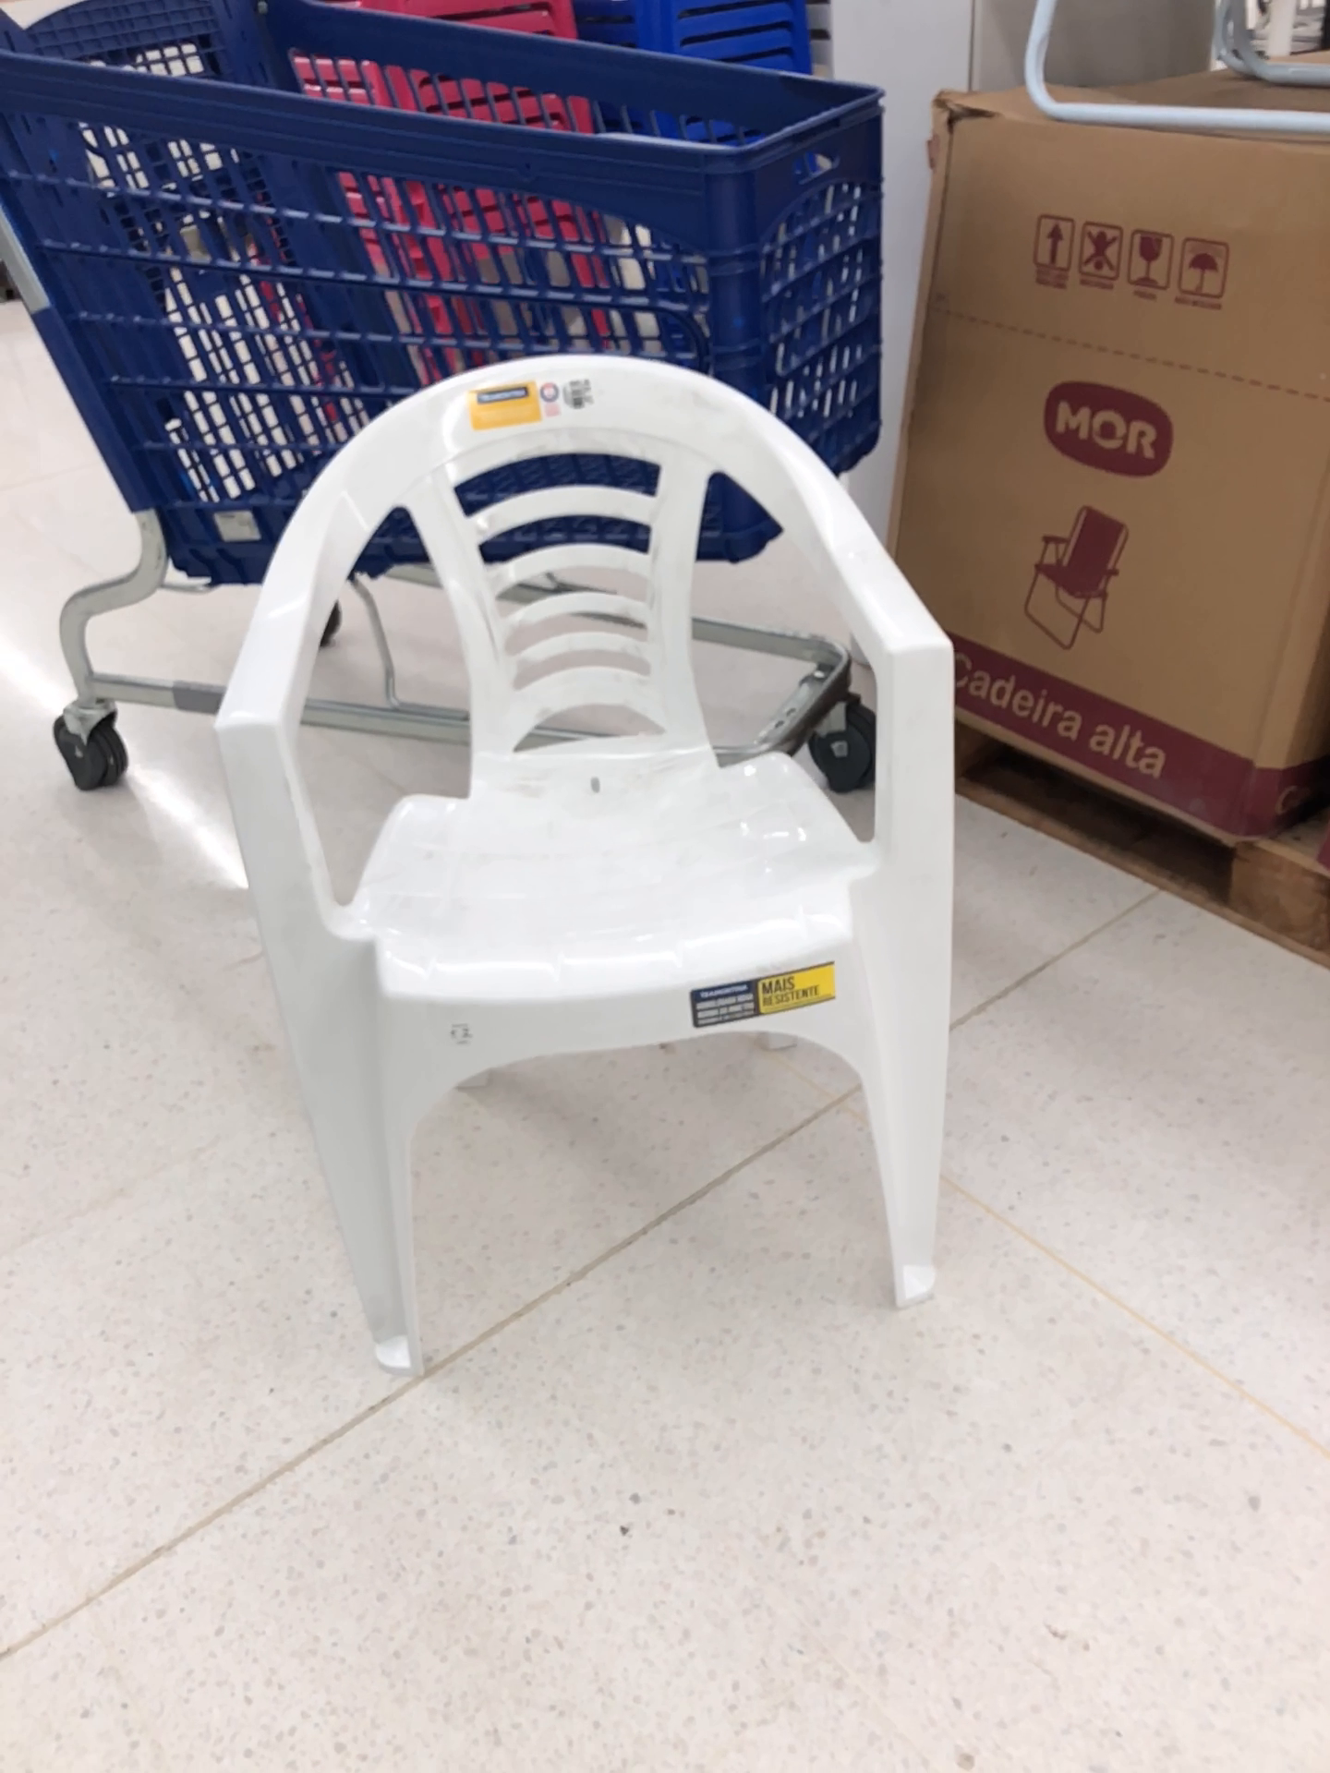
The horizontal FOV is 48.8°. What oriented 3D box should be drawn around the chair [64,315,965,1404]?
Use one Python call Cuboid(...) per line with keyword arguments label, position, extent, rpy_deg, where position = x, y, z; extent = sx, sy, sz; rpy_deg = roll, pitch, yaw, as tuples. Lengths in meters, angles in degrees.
Cuboid(label="chair", position=(-0.089, -0.037, 1.241), extent=(0.520, 0.695, 0.504), rpy_deg=(-8, 33, -4))
